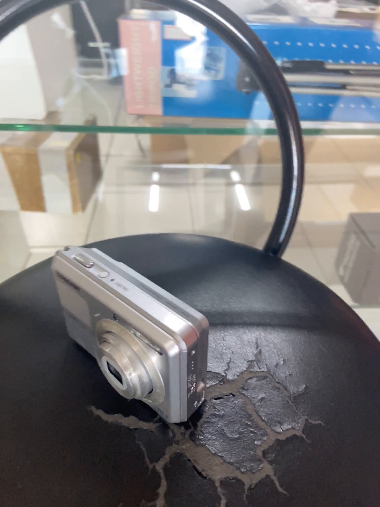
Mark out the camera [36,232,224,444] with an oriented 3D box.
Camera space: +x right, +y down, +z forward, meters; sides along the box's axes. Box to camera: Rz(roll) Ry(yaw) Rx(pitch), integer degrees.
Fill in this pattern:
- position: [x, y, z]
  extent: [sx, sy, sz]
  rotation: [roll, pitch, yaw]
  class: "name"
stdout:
- position: [-0.030, 0.036, 0.191]
  extent: [0.083, 0.057, 0.035]
  rotation: [28, 44, 31]
  class: "camera"
